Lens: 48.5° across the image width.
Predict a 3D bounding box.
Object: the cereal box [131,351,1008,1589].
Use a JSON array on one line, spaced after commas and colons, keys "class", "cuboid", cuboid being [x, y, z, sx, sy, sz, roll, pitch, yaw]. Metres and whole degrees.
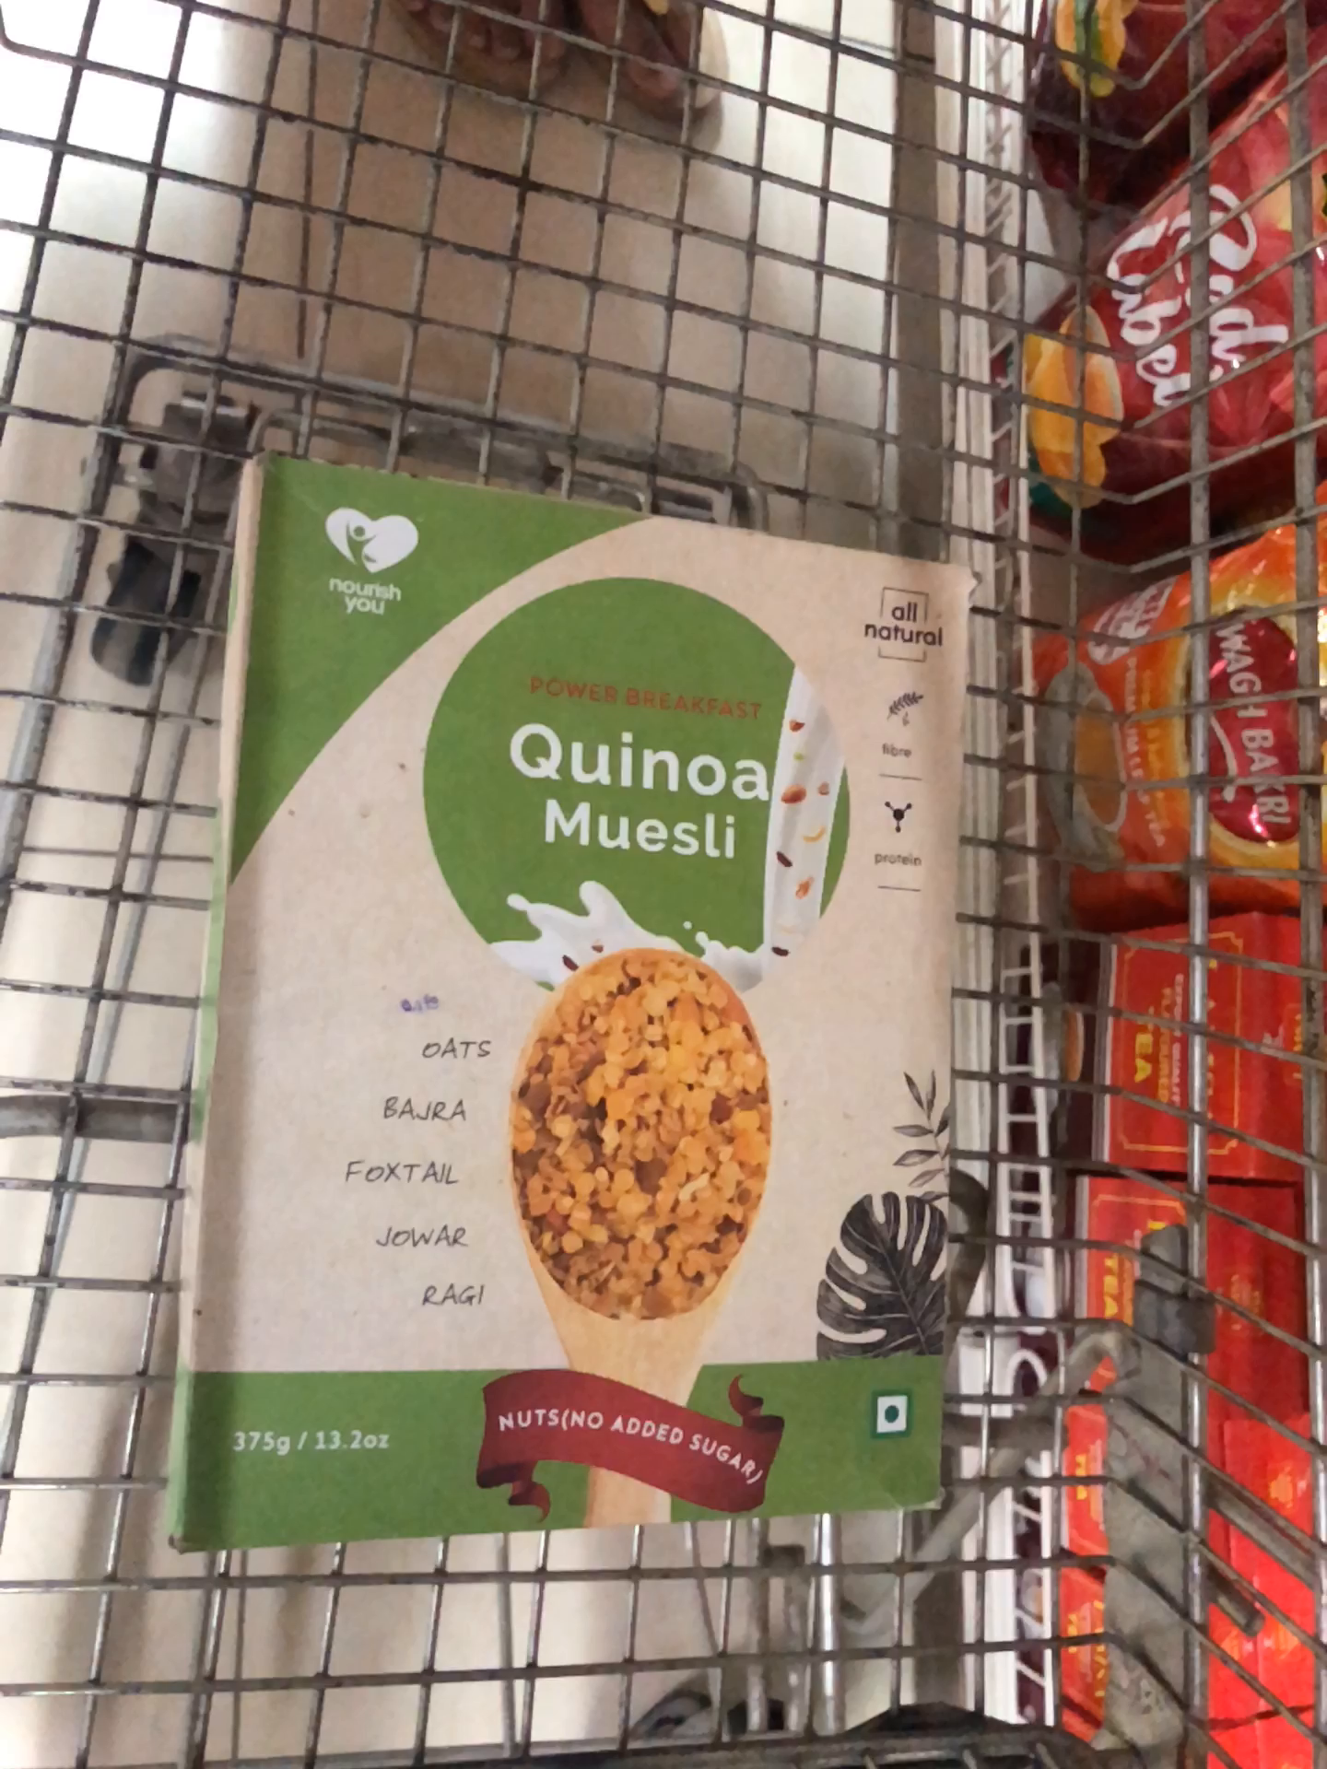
[{"class": "cereal box", "cuboid": [-0.017, 0.018, 0.306, 0.160, 0.060, 0.210, 4, 85, -20]}]
